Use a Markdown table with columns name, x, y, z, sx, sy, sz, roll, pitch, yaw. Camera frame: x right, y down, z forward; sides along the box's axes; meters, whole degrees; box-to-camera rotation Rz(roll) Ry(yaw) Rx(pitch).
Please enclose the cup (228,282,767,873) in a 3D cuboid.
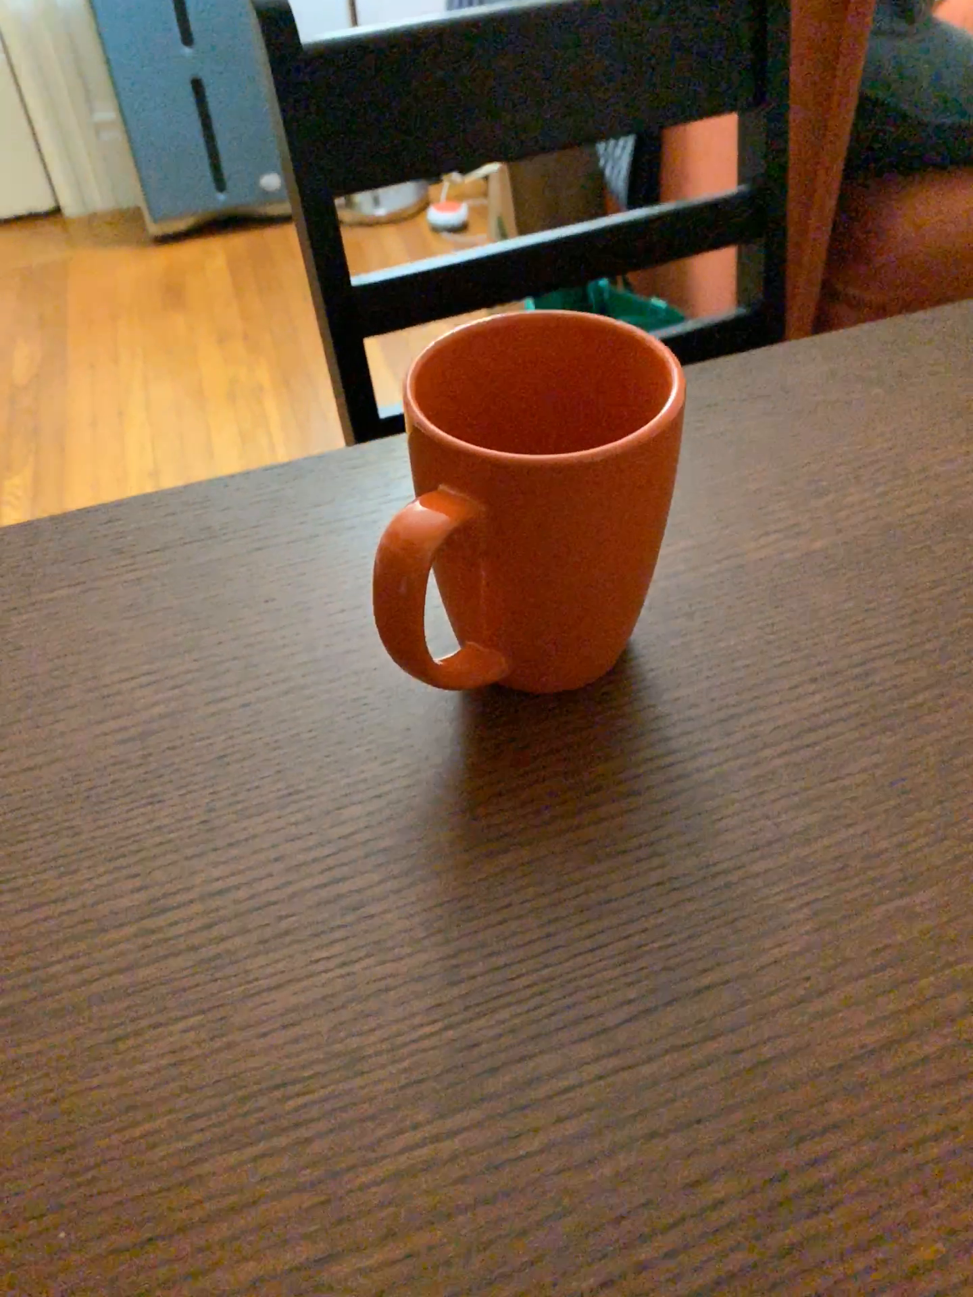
| name | x | y | z | sx | sy | sz | roll | pitch | yaw |
| --- | --- | --- | --- | --- | --- | --- | --- | --- | --- |
| cup | 0.010 | -0.029 | 0.323 | 0.100 | 0.109 | 0.130 | 22 | 51 | 23 |
